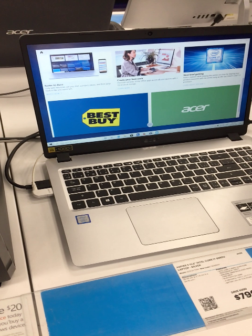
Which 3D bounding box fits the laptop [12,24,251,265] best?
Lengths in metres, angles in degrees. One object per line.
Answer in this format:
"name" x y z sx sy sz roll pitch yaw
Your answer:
"laptop" 0.072 -0.060 0.504 0.387 0.199 0.305 -10 47 -14
